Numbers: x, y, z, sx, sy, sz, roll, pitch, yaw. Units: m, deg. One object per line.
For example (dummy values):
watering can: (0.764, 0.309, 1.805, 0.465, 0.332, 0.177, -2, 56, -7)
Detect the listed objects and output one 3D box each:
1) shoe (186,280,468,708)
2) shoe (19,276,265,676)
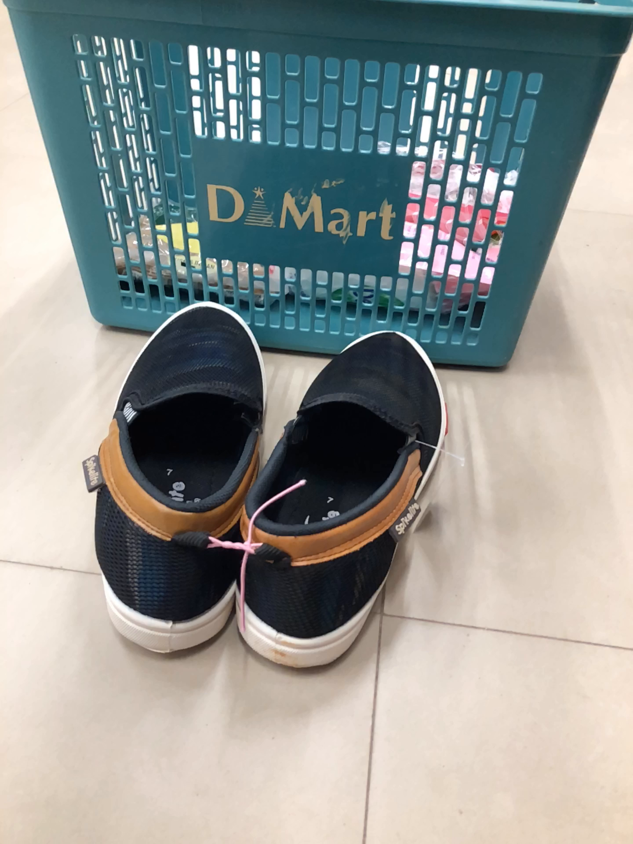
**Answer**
shoe: (0.020, 0.024, 0.428, 0.105, 0.107, 0.240, 11, 40, 9)
shoe: (-0.087, 0.015, 0.431, 0.105, 0.107, 0.240, -1, 40, -5)
